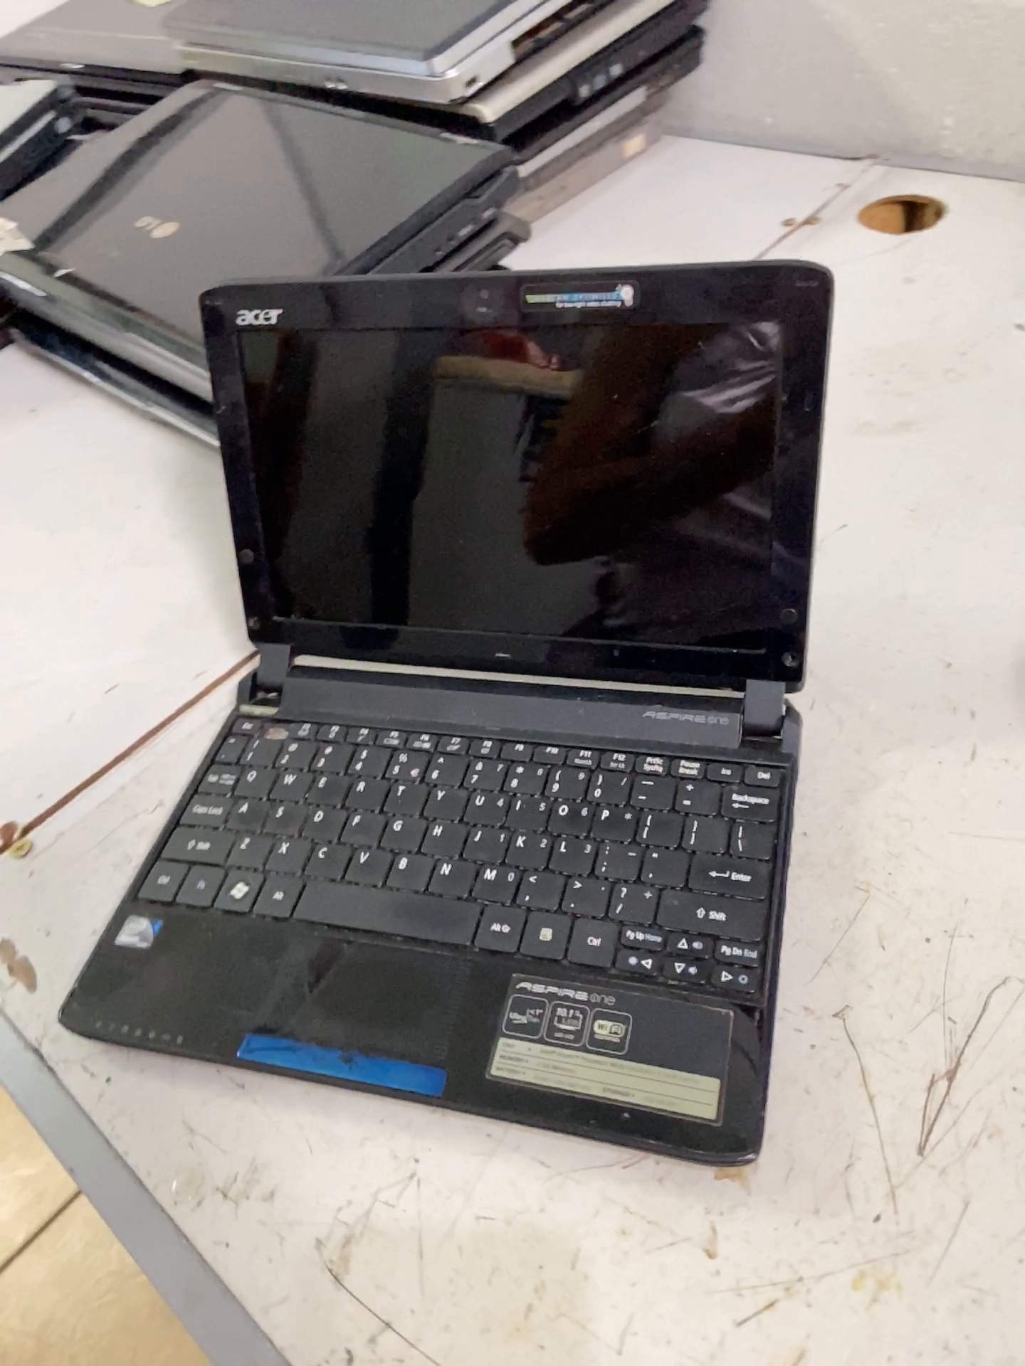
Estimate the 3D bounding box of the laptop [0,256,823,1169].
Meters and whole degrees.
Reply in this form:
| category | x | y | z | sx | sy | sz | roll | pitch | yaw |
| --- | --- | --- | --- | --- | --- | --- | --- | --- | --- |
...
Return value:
| category | x | y | z | sx | sy | sz | roll | pitch | yaw |
| --- | --- | --- | --- | --- | --- | --- | --- | --- | --- |
| laptop | -0.031 | -0.011 | 0.379 | 0.253 | 0.144 | 0.260 | 4 | 50 | 18 |
